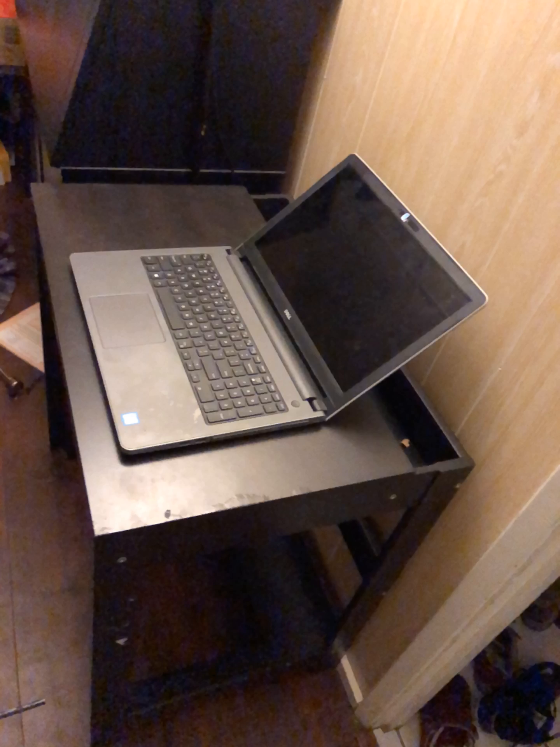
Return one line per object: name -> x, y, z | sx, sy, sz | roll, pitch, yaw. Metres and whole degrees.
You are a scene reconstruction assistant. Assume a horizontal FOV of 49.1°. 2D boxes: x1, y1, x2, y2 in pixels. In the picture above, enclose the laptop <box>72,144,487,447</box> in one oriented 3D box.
laptop -> -0.027, -0.131, 0.826 | 0.426, 0.172, 0.369 | -7, 47, -25
